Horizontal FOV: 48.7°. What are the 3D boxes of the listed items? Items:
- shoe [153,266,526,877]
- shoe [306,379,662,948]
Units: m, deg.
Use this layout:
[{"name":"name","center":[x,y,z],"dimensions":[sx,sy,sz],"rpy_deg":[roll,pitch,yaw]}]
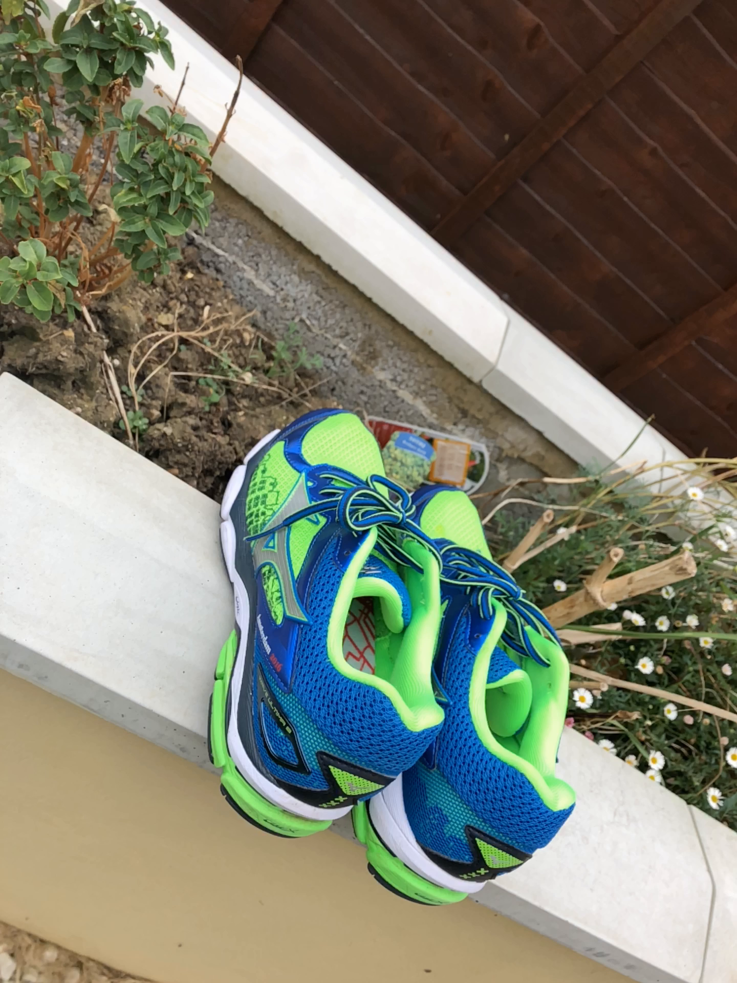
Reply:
[{"name":"shoe","center":[-0.009,0.031,0.444],"dimensions":[0.110,0.119,0.292],"rpy_deg":[29,43,-27]},{"name":"shoe","center":[0.064,0.083,0.483],"dimensions":[0.110,0.119,0.292],"rpy_deg":[34,37,-22]}]
